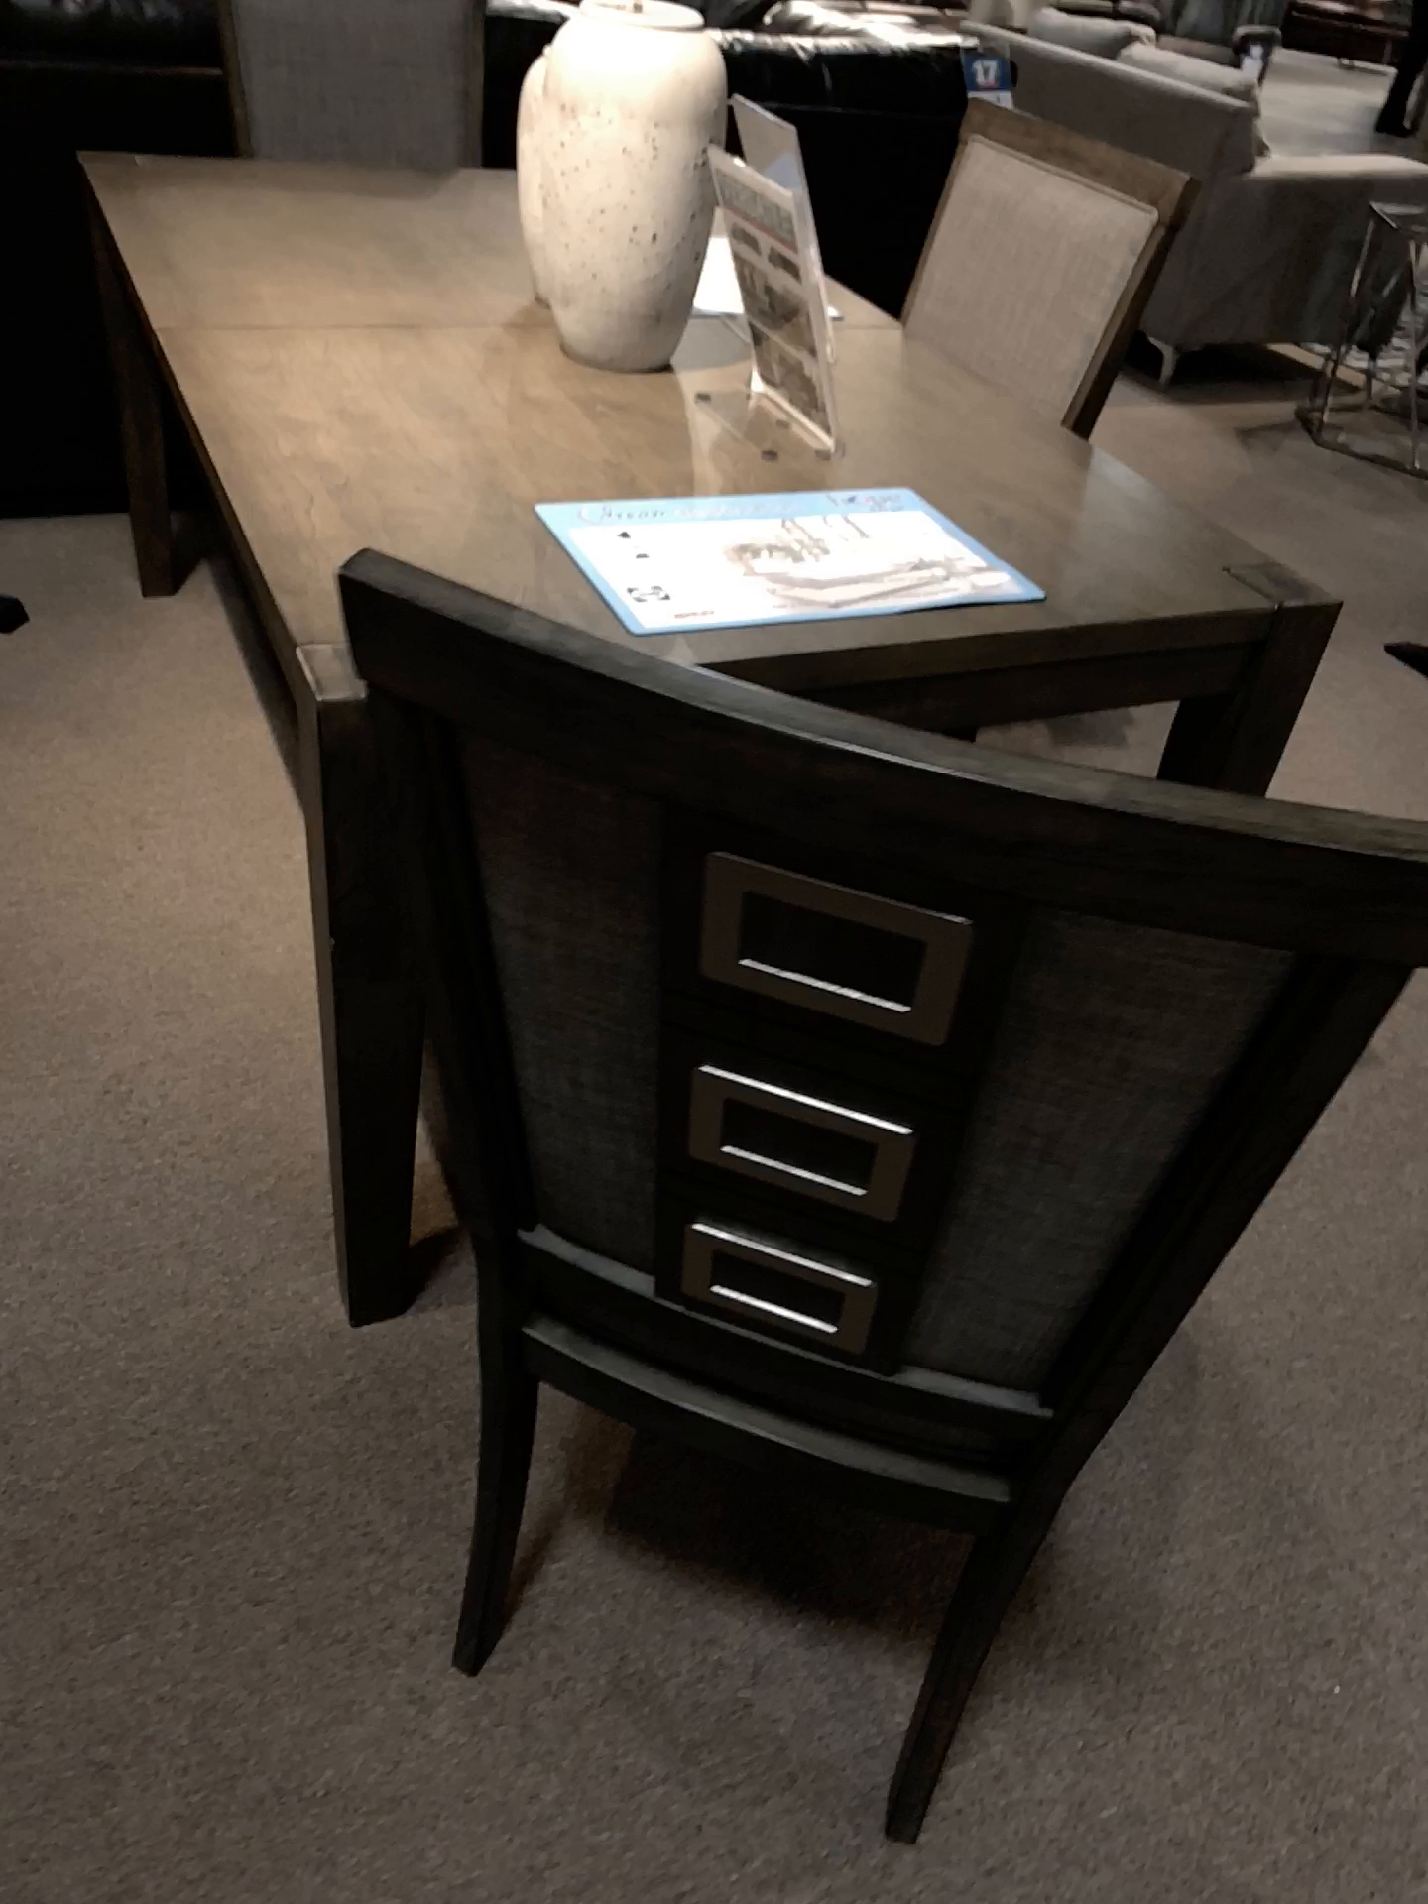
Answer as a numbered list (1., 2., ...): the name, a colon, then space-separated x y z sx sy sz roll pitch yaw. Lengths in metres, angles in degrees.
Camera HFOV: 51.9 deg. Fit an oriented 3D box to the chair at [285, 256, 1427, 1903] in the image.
1. chair: 0.101 0.119 1.110 0.514 0.997 0.645 15 38 9
